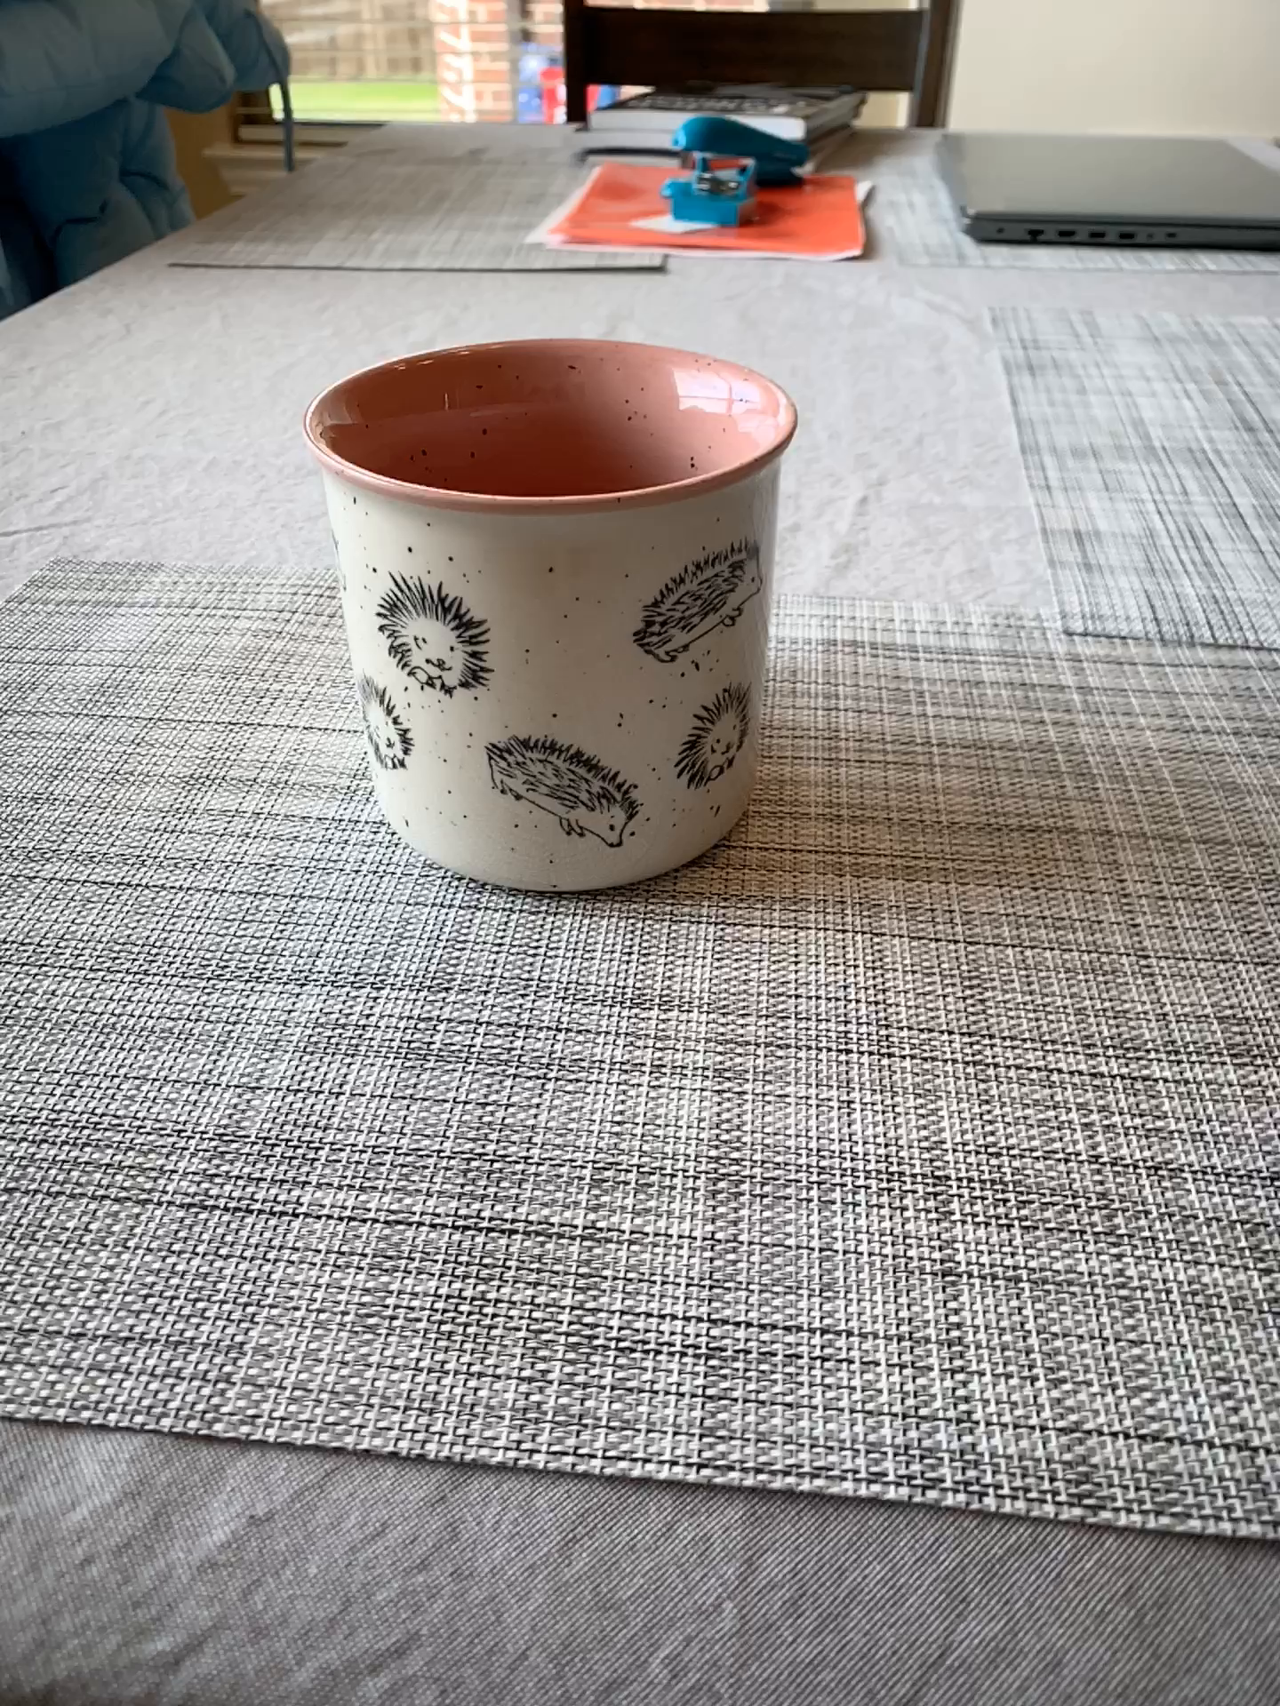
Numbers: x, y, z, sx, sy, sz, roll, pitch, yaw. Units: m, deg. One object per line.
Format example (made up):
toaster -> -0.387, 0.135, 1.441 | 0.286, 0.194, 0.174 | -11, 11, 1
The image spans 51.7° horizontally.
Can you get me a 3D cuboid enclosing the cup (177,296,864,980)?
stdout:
cup -> -0.015, -0.065, 0.339 | 0.121, 0.106, 0.151 | 8, 37, 10
